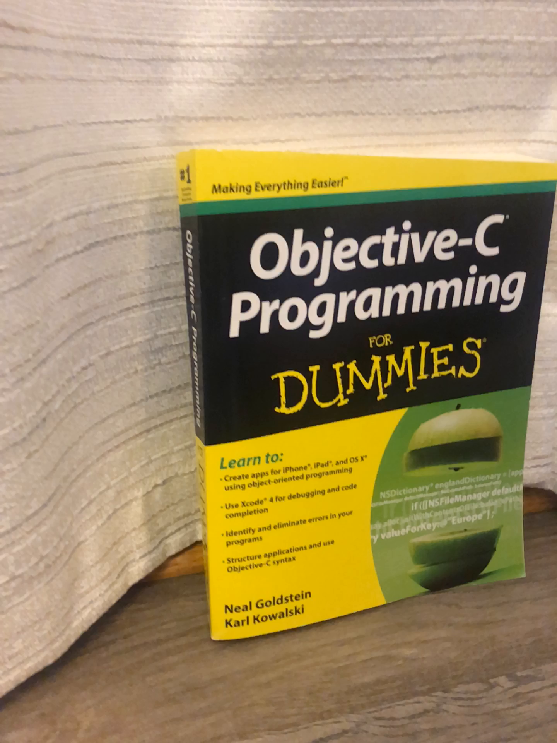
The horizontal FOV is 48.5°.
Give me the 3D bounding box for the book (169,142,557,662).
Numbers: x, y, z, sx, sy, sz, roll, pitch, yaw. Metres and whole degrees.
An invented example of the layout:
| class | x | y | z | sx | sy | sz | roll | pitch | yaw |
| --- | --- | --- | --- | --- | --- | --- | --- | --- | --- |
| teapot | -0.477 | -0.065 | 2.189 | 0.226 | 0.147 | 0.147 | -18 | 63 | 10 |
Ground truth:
| class | x | y | z | sx | sy | sz | roll | pitch | yaw |
| --- | --- | --- | --- | --- | --- | --- | --- | --- | --- |
| book | 0.047 | 0.010 | 0.310 | 0.184 | 0.230 | 0.033 | -6 | 13 | -18 |
